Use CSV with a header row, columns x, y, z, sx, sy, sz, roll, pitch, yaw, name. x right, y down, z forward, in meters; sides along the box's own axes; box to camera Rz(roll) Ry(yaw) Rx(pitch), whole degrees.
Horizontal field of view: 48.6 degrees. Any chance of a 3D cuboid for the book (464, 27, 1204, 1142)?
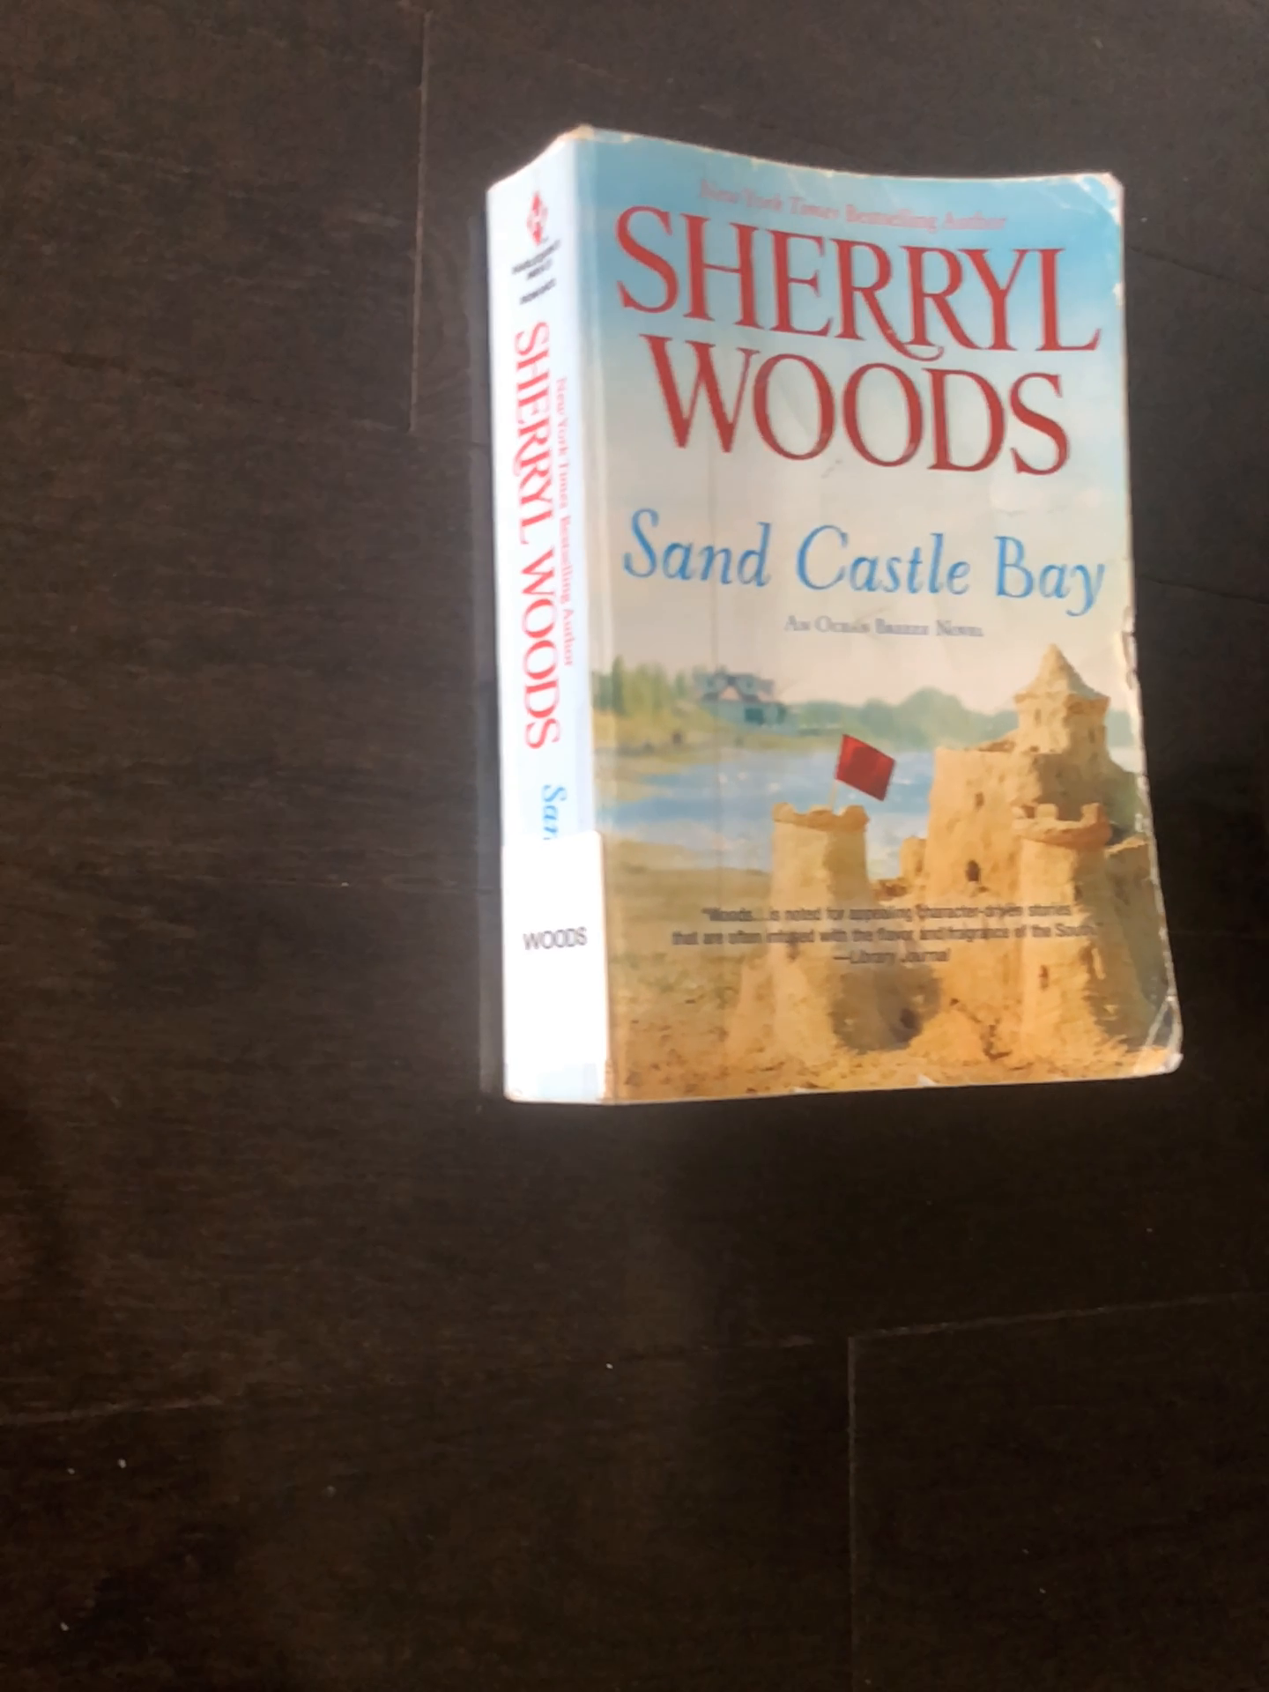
x,y,z,sx,sy,sz,roll,pitch,yaw,name
0.035,-0.038,0.241,0.120,0.037,0.161,0,87,-23,book
